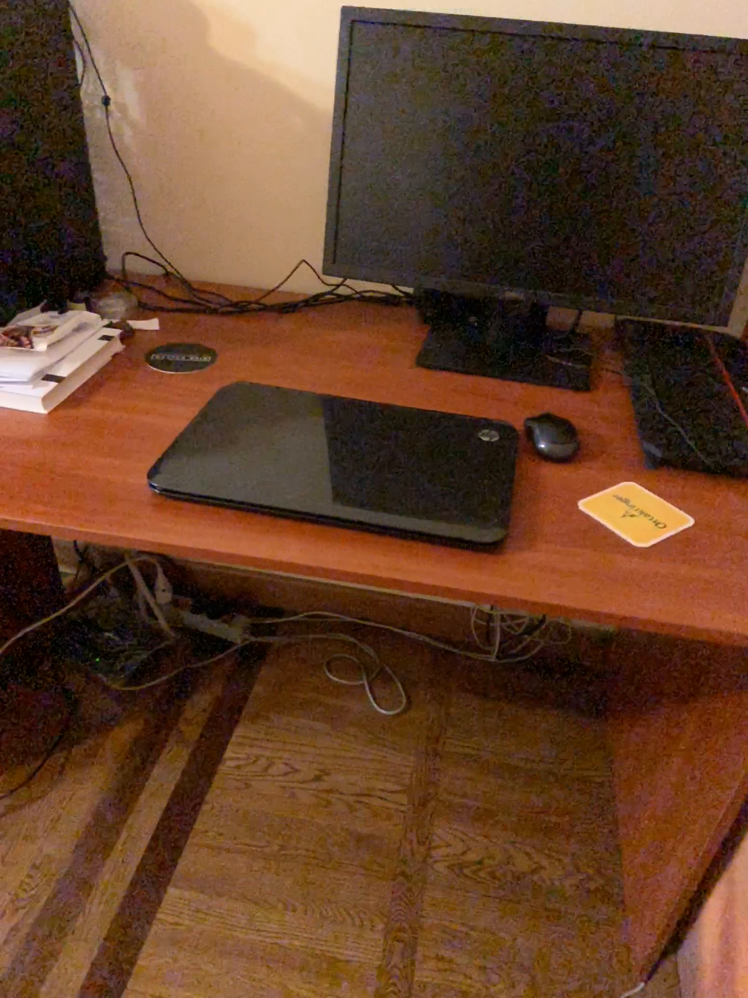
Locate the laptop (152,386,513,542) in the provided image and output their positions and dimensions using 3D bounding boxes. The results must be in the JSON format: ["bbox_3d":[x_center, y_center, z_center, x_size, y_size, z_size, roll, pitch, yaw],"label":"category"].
[{"bbox_3d":[-0.033,-0.055,0.895,0.381,0.001,0.244,9,35,9],"label":"laptop"}]
